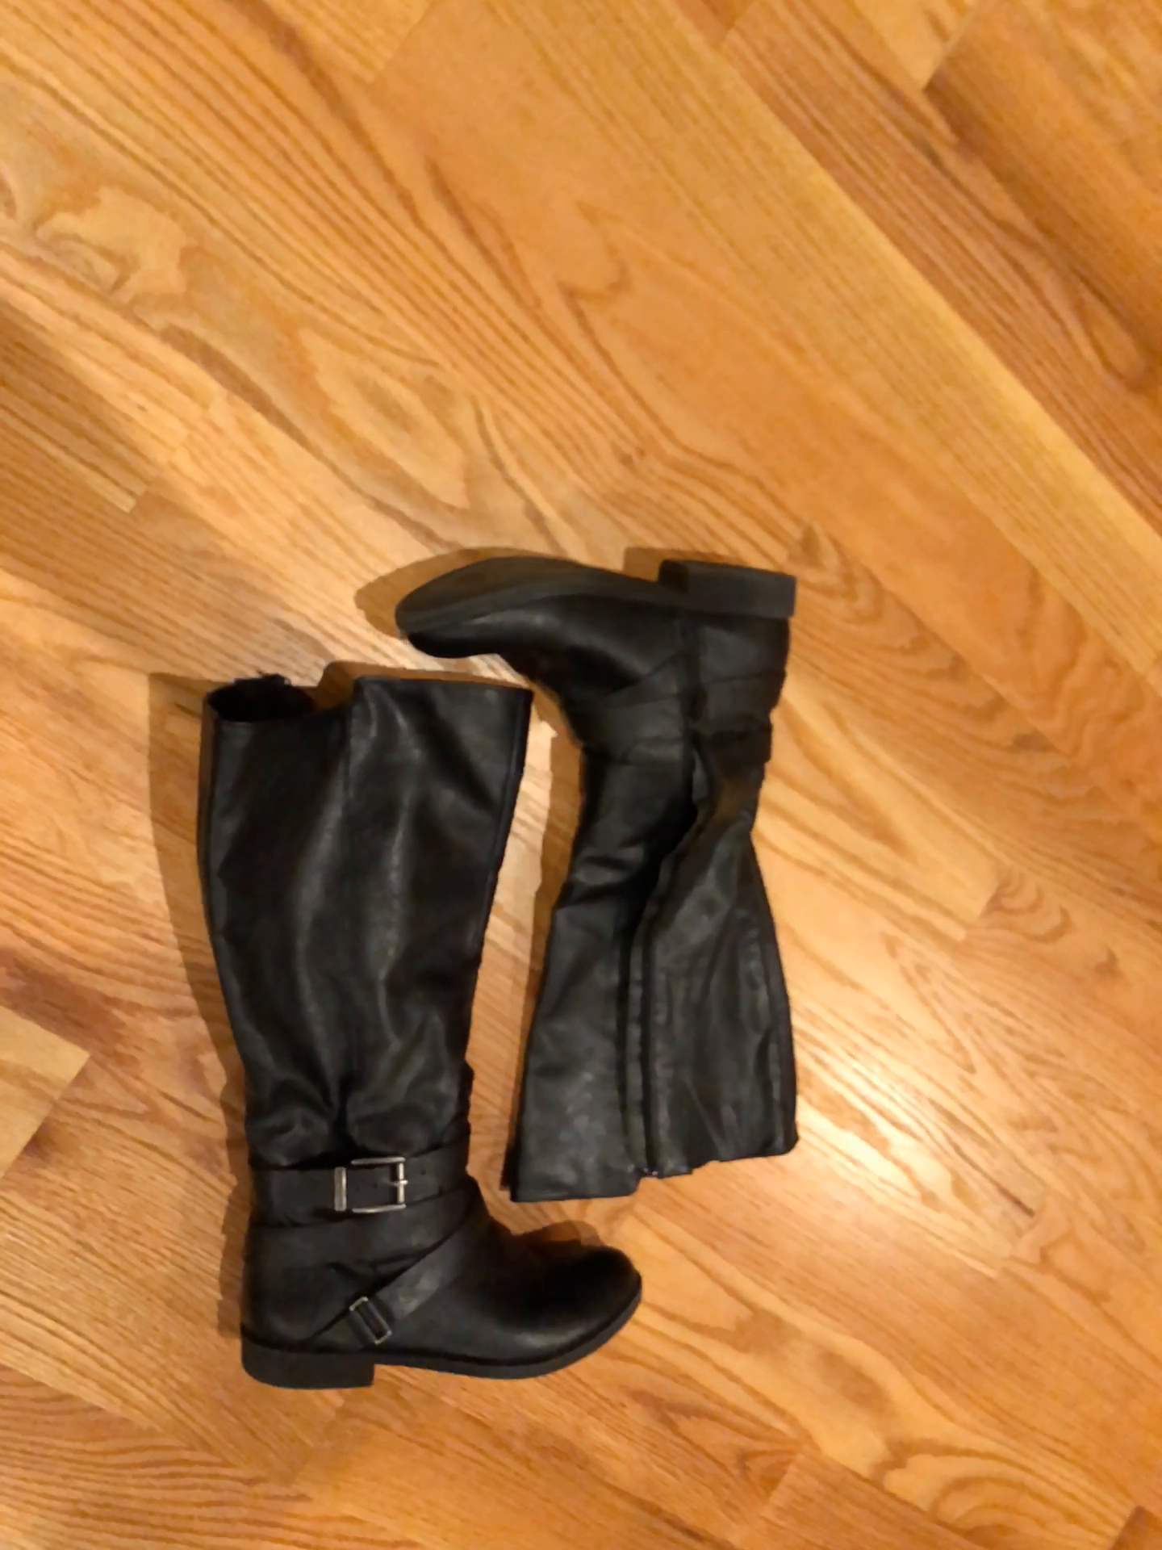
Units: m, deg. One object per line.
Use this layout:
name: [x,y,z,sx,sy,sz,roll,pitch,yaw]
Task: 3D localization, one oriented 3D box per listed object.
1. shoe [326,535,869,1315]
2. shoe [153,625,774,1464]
shoe: [0.006,0.081,0.724,0.251,0.094,0.393,4,96,-22]
shoe: [-0.069,0.134,0.702,0.291,0.104,0.403,2,98,-22]
